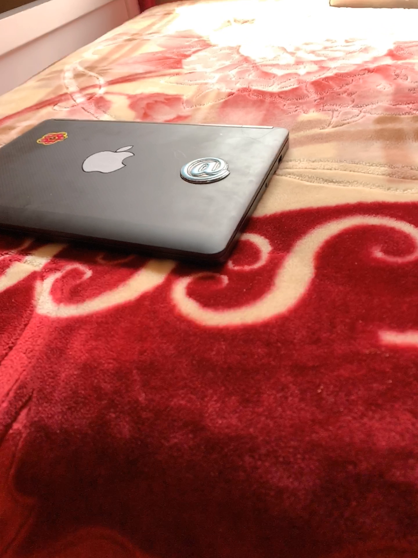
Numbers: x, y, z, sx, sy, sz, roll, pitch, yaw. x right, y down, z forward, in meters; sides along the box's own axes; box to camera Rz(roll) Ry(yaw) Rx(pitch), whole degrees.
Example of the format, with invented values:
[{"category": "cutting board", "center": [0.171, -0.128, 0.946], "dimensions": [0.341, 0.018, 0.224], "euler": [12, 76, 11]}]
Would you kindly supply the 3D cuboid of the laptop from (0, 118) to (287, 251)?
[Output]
[{"category": "laptop", "center": [-0.098, -0.108, 0.403], "dimensions": [0.300, 0.001, 0.209], "euler": [10, 43, 20]}]
